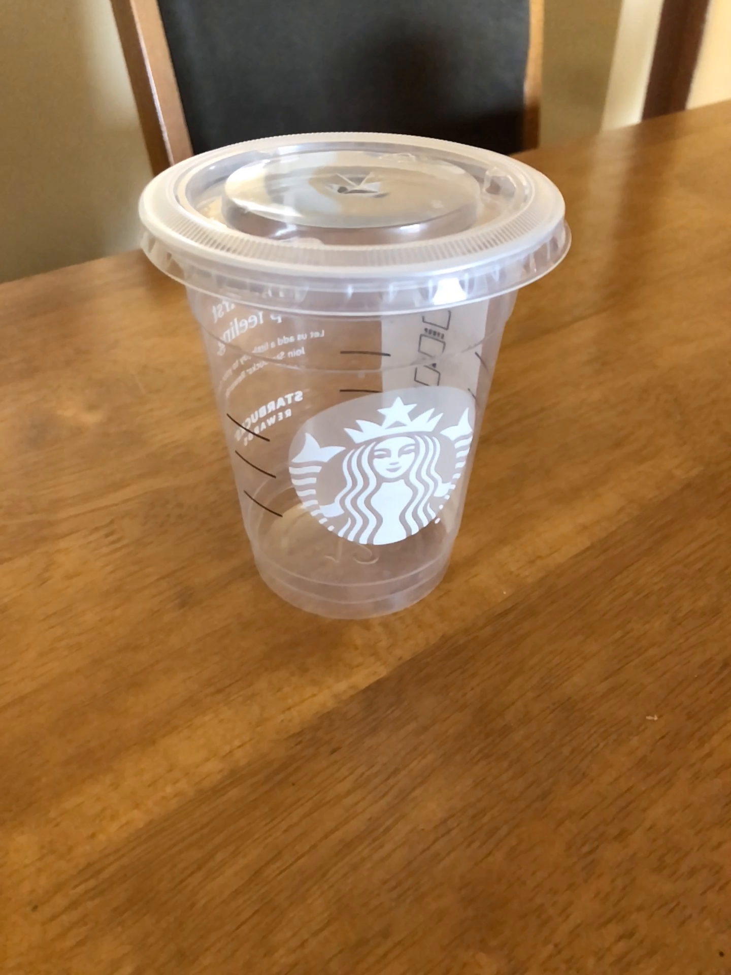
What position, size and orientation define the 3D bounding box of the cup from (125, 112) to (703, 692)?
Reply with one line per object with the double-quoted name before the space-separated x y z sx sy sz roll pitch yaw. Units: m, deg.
"cup" 0.001 -0.027 0.204 0.100 0.100 0.090 -9 38 -12
